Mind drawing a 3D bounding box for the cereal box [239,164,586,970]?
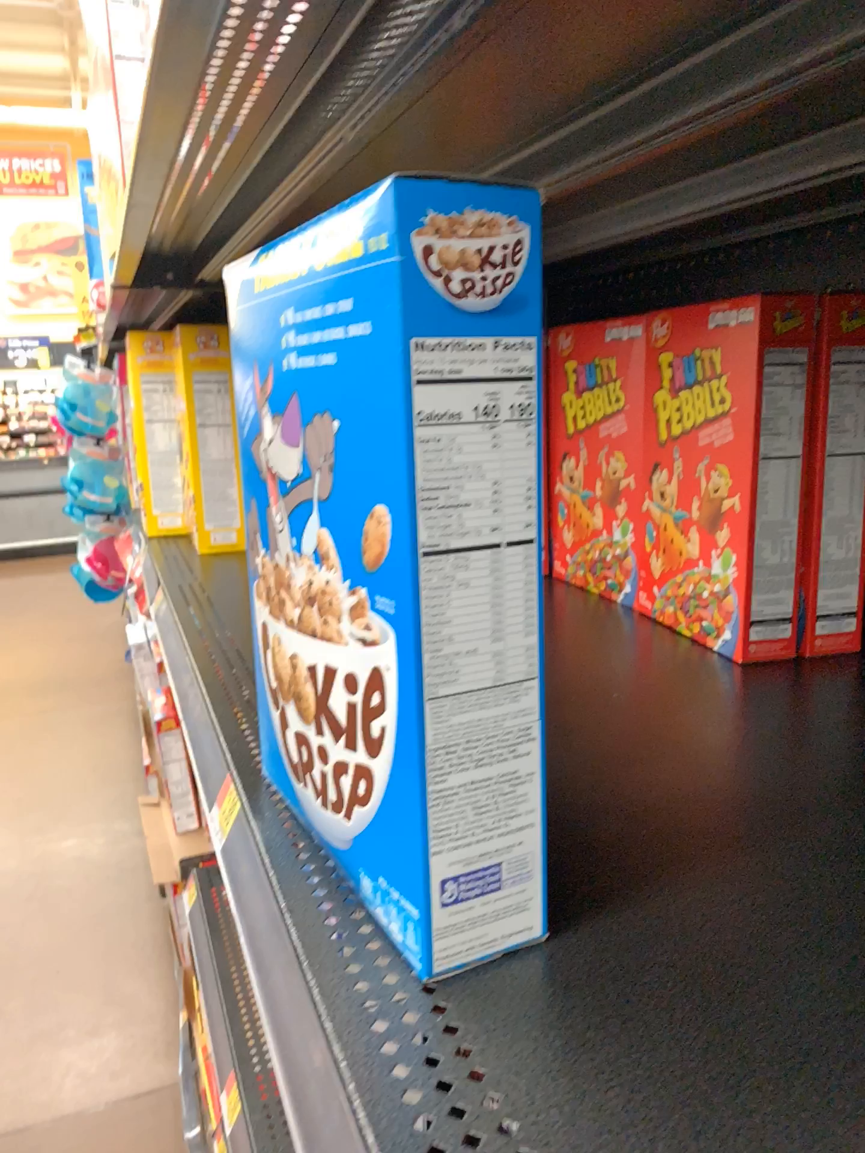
[{"bbox_3d":[-0.022,-0.014,0.491,0.070,0.339,0.251,-8,13,-28],"label":"cereal box"}]
